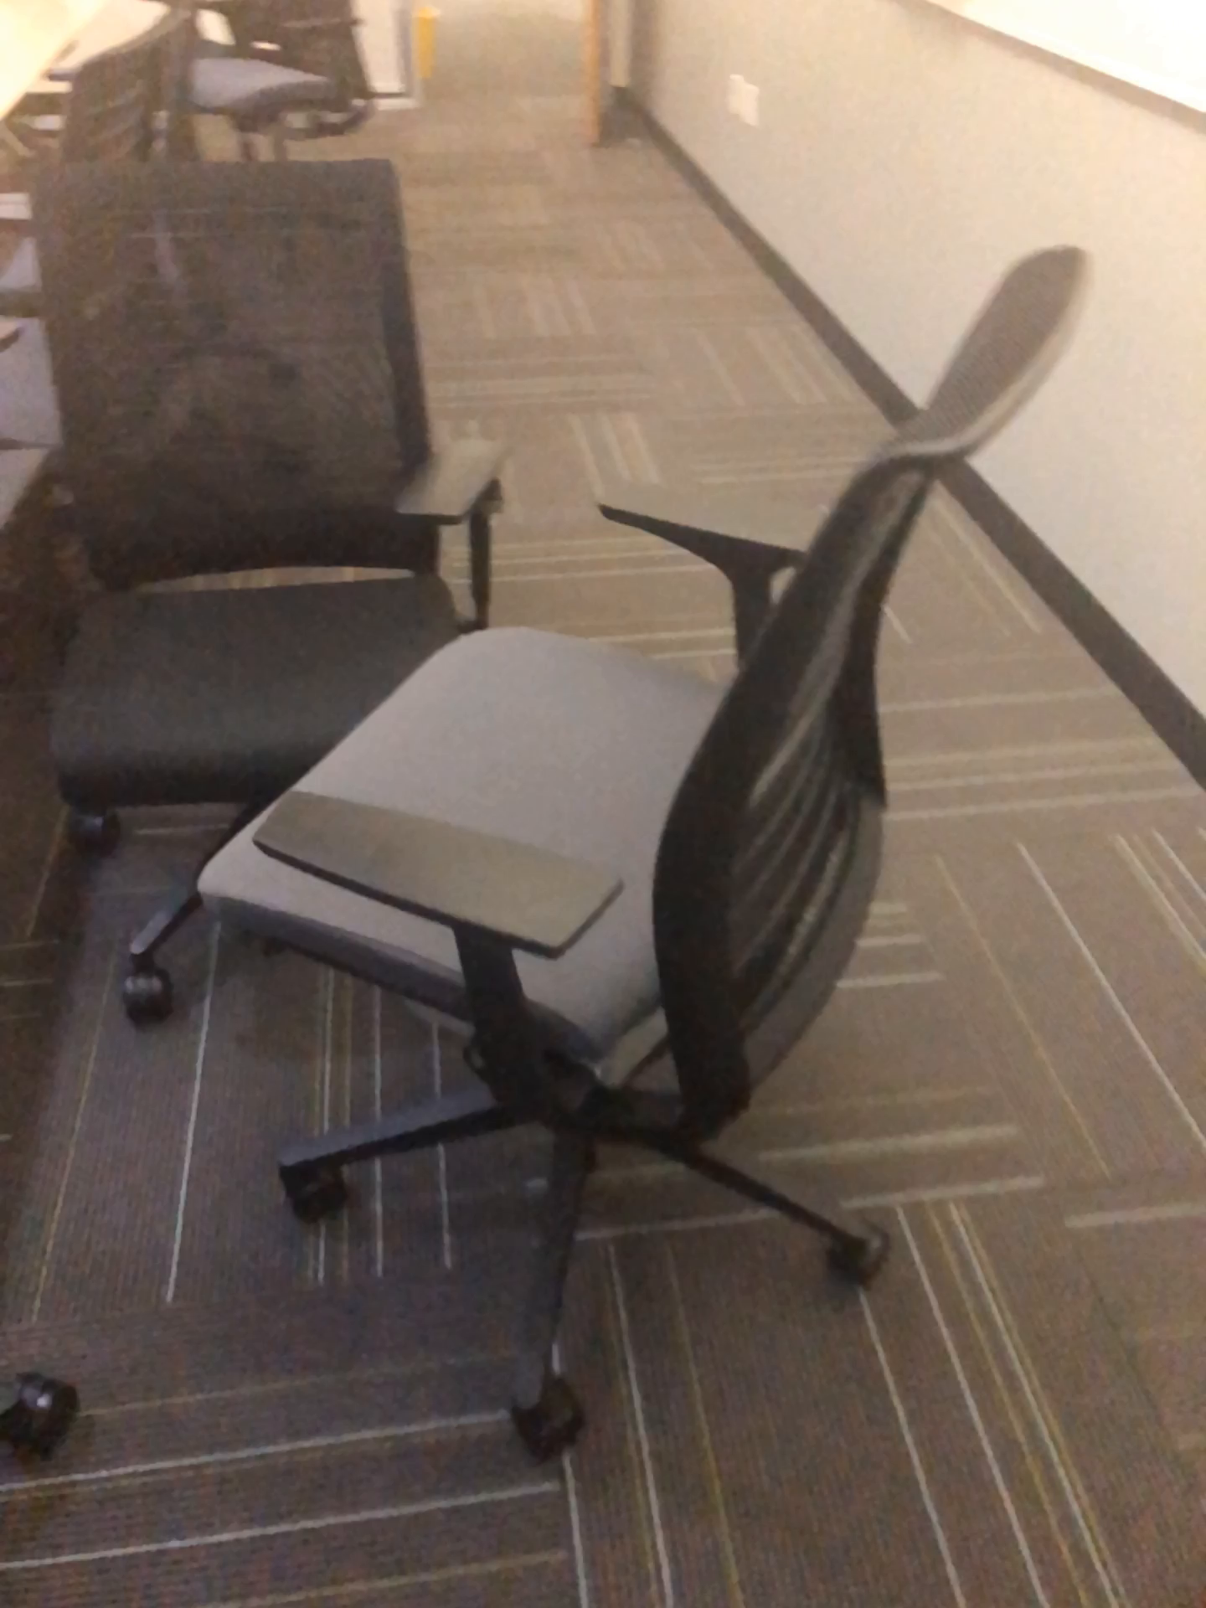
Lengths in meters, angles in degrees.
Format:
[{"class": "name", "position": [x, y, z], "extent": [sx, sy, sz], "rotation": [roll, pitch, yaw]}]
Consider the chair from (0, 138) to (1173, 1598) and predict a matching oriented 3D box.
[{"class": "chair", "position": [0.001, 0.007, 1.220], "extent": [0.710, 0.961, 0.726], "rotation": [15, 39, 18]}]

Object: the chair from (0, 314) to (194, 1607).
[{"class": "chair", "position": [-0.817, 0.345, 0.751], "extent": [0.720, 0.961, 0.737], "rotation": [7, 37, 9]}]
